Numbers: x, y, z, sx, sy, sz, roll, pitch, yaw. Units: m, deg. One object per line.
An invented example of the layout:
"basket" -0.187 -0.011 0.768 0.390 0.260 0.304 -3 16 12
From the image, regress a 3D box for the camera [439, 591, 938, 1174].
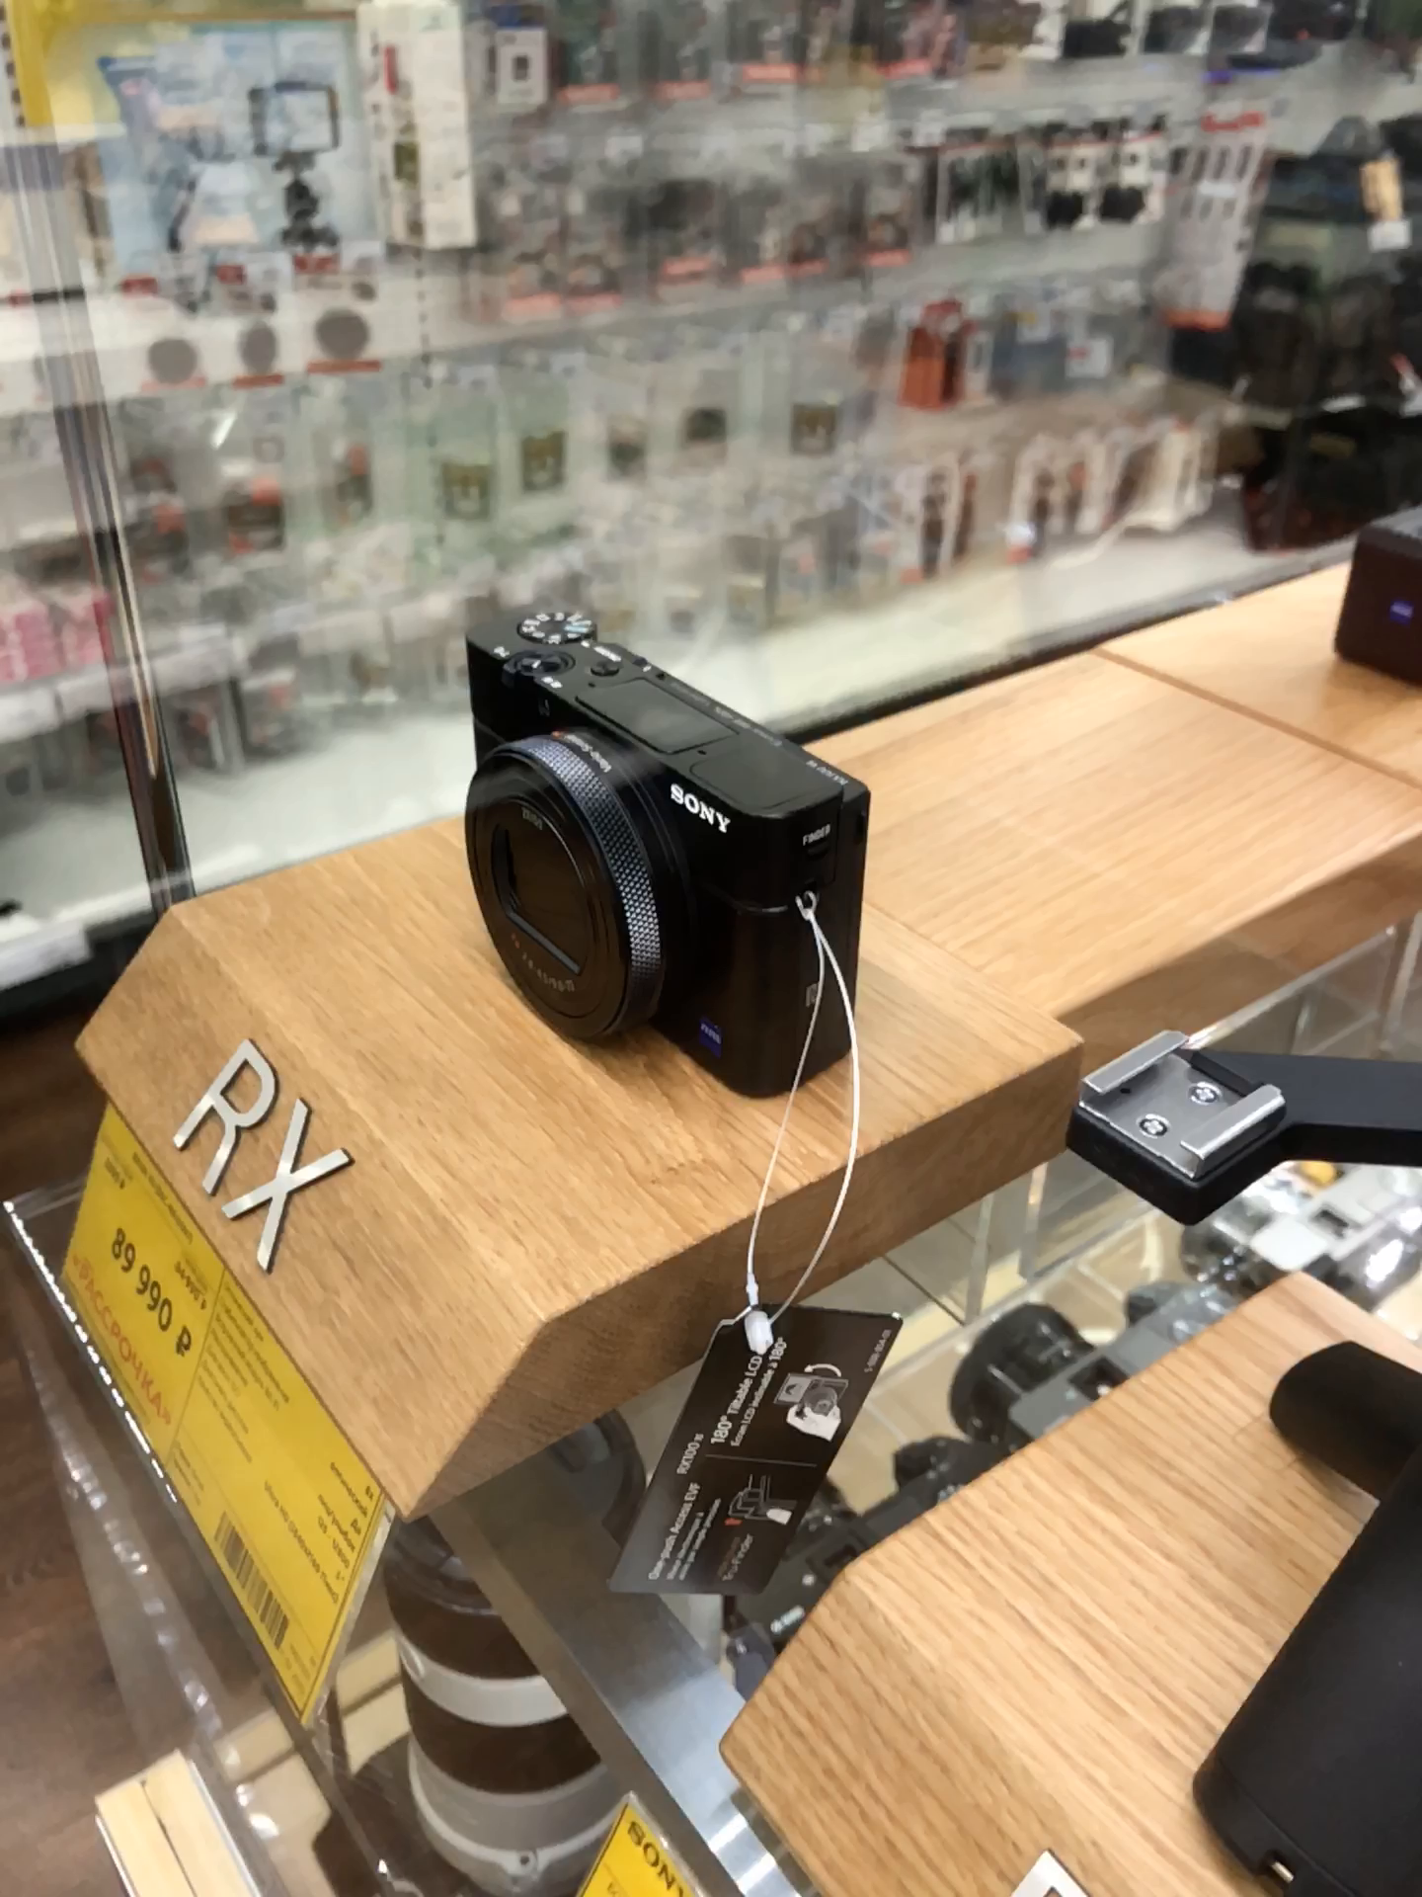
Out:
"camera" -0.008 -0.018 0.307 0.040 0.070 0.100 -21 38 -31

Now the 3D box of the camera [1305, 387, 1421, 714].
"camera" 0.200 -0.109 0.429 0.052 0.070 0.040 -22 38 -32
